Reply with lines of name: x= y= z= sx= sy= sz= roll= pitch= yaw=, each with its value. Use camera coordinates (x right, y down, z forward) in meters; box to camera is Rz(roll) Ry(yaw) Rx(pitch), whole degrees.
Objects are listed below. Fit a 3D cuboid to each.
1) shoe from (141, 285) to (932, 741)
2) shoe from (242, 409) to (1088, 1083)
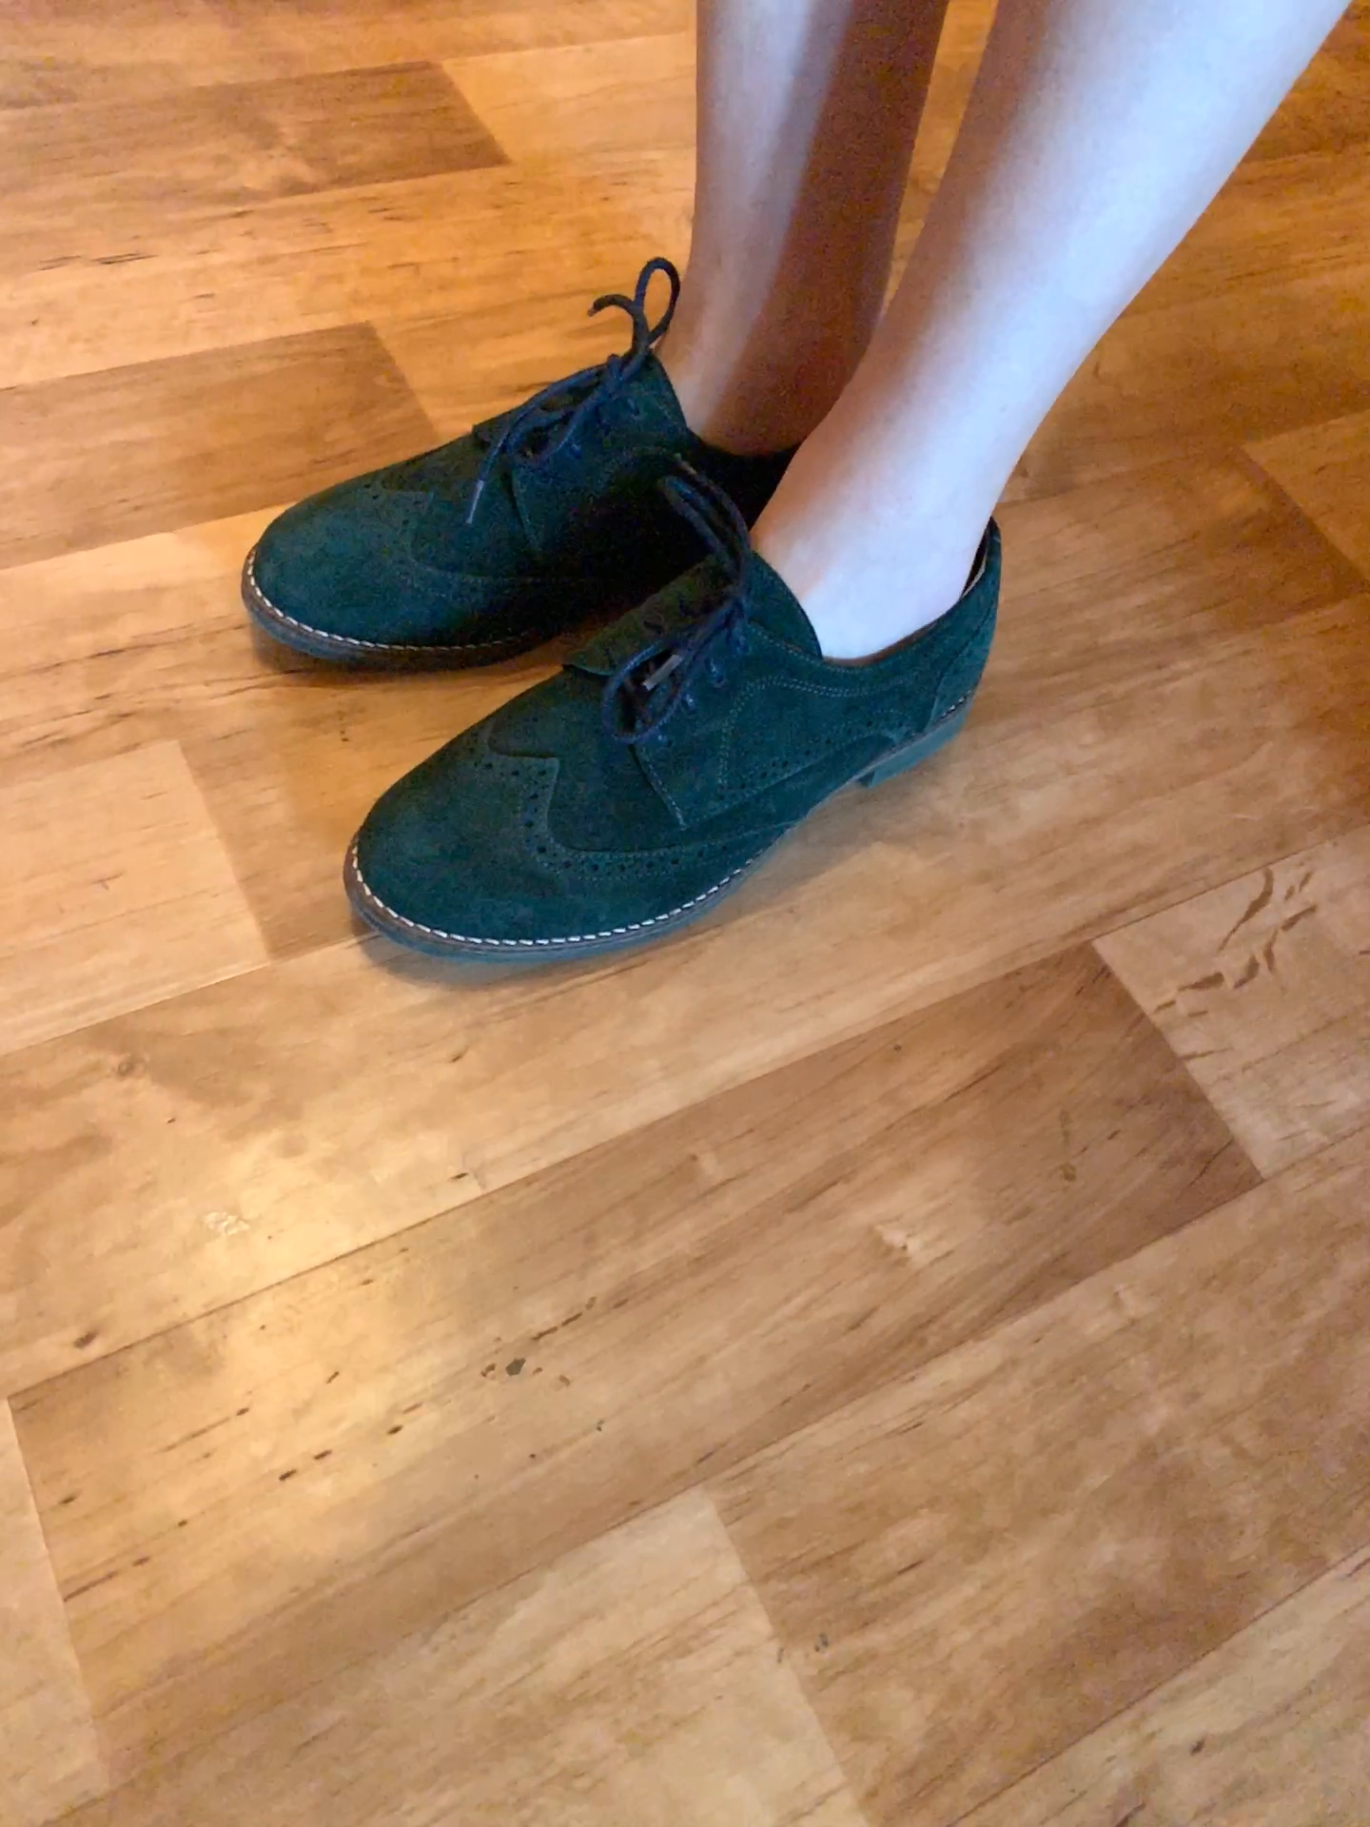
shoe: x=-0.051 y=-0.154 z=0.522 sx=0.260 sy=0.080 sz=0.090 roll=-18 pitch=64 yaw=-21
shoe: x=-0.001 y=-0.064 z=0.457 sx=0.250 sy=0.080 sz=0.100 roll=-31 pitch=69 yaw=-26
